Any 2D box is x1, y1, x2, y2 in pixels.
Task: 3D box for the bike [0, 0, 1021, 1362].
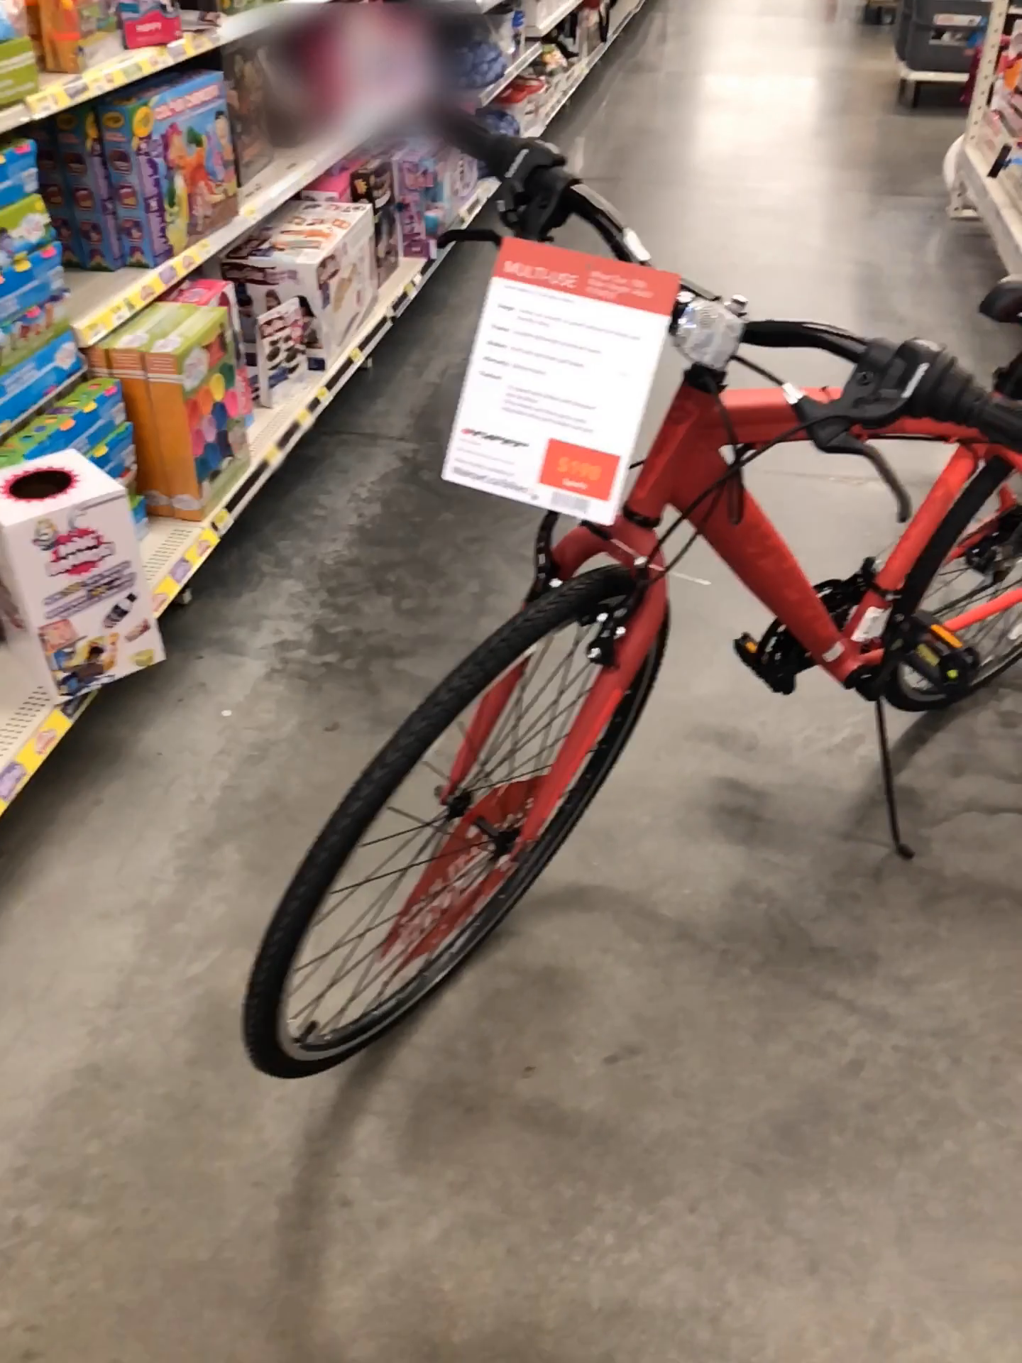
[{"bbox_3d":[0.425,-0.117,1.358,1.690,1.000,0.616,-27,45,-28],"label":"bike"}]
